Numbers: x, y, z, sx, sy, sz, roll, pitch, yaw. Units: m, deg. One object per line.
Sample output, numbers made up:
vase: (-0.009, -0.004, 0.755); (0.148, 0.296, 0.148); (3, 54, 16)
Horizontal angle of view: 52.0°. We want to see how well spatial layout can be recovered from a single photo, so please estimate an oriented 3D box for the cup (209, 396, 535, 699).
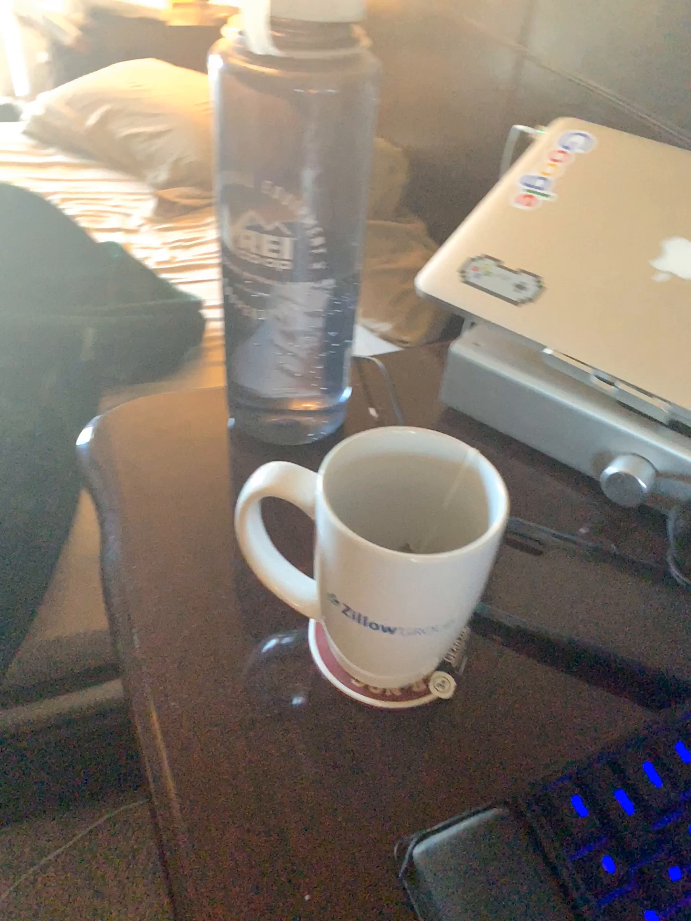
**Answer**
cup: (0.009, 0.043, 0.352); (0.130, 0.099, 0.101); (4, 42, -2)
